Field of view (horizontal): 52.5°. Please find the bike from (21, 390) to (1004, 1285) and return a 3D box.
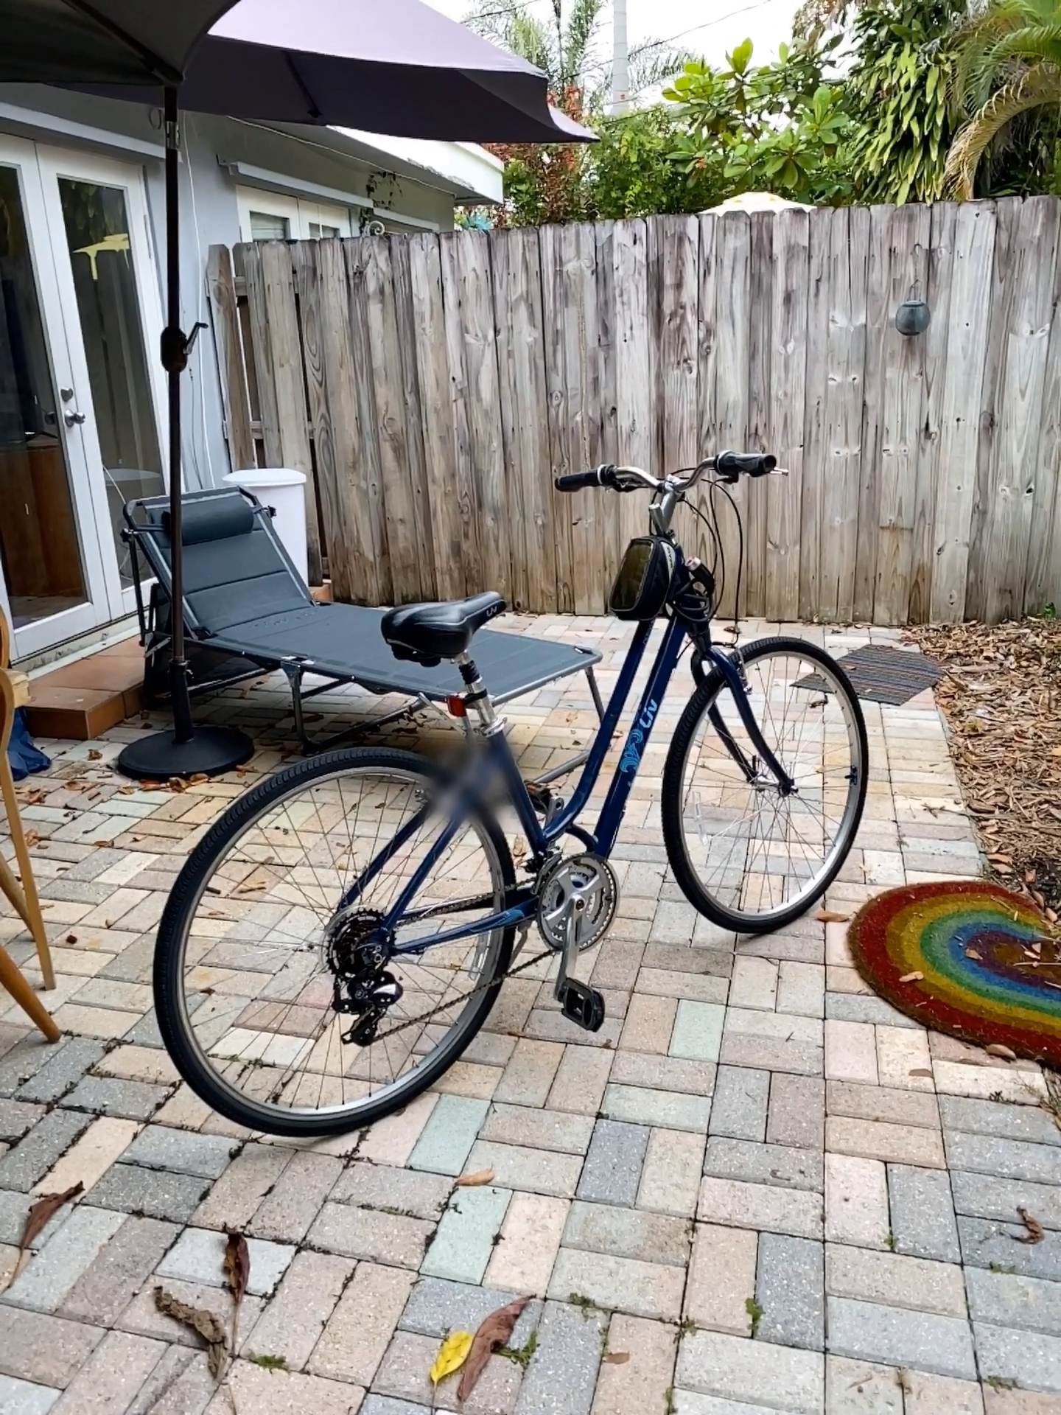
[{"bbox_3d":[0.095,0.041,2.082,1.691,1.067,0.597,-18,24,-33],"label":"bike"}]
